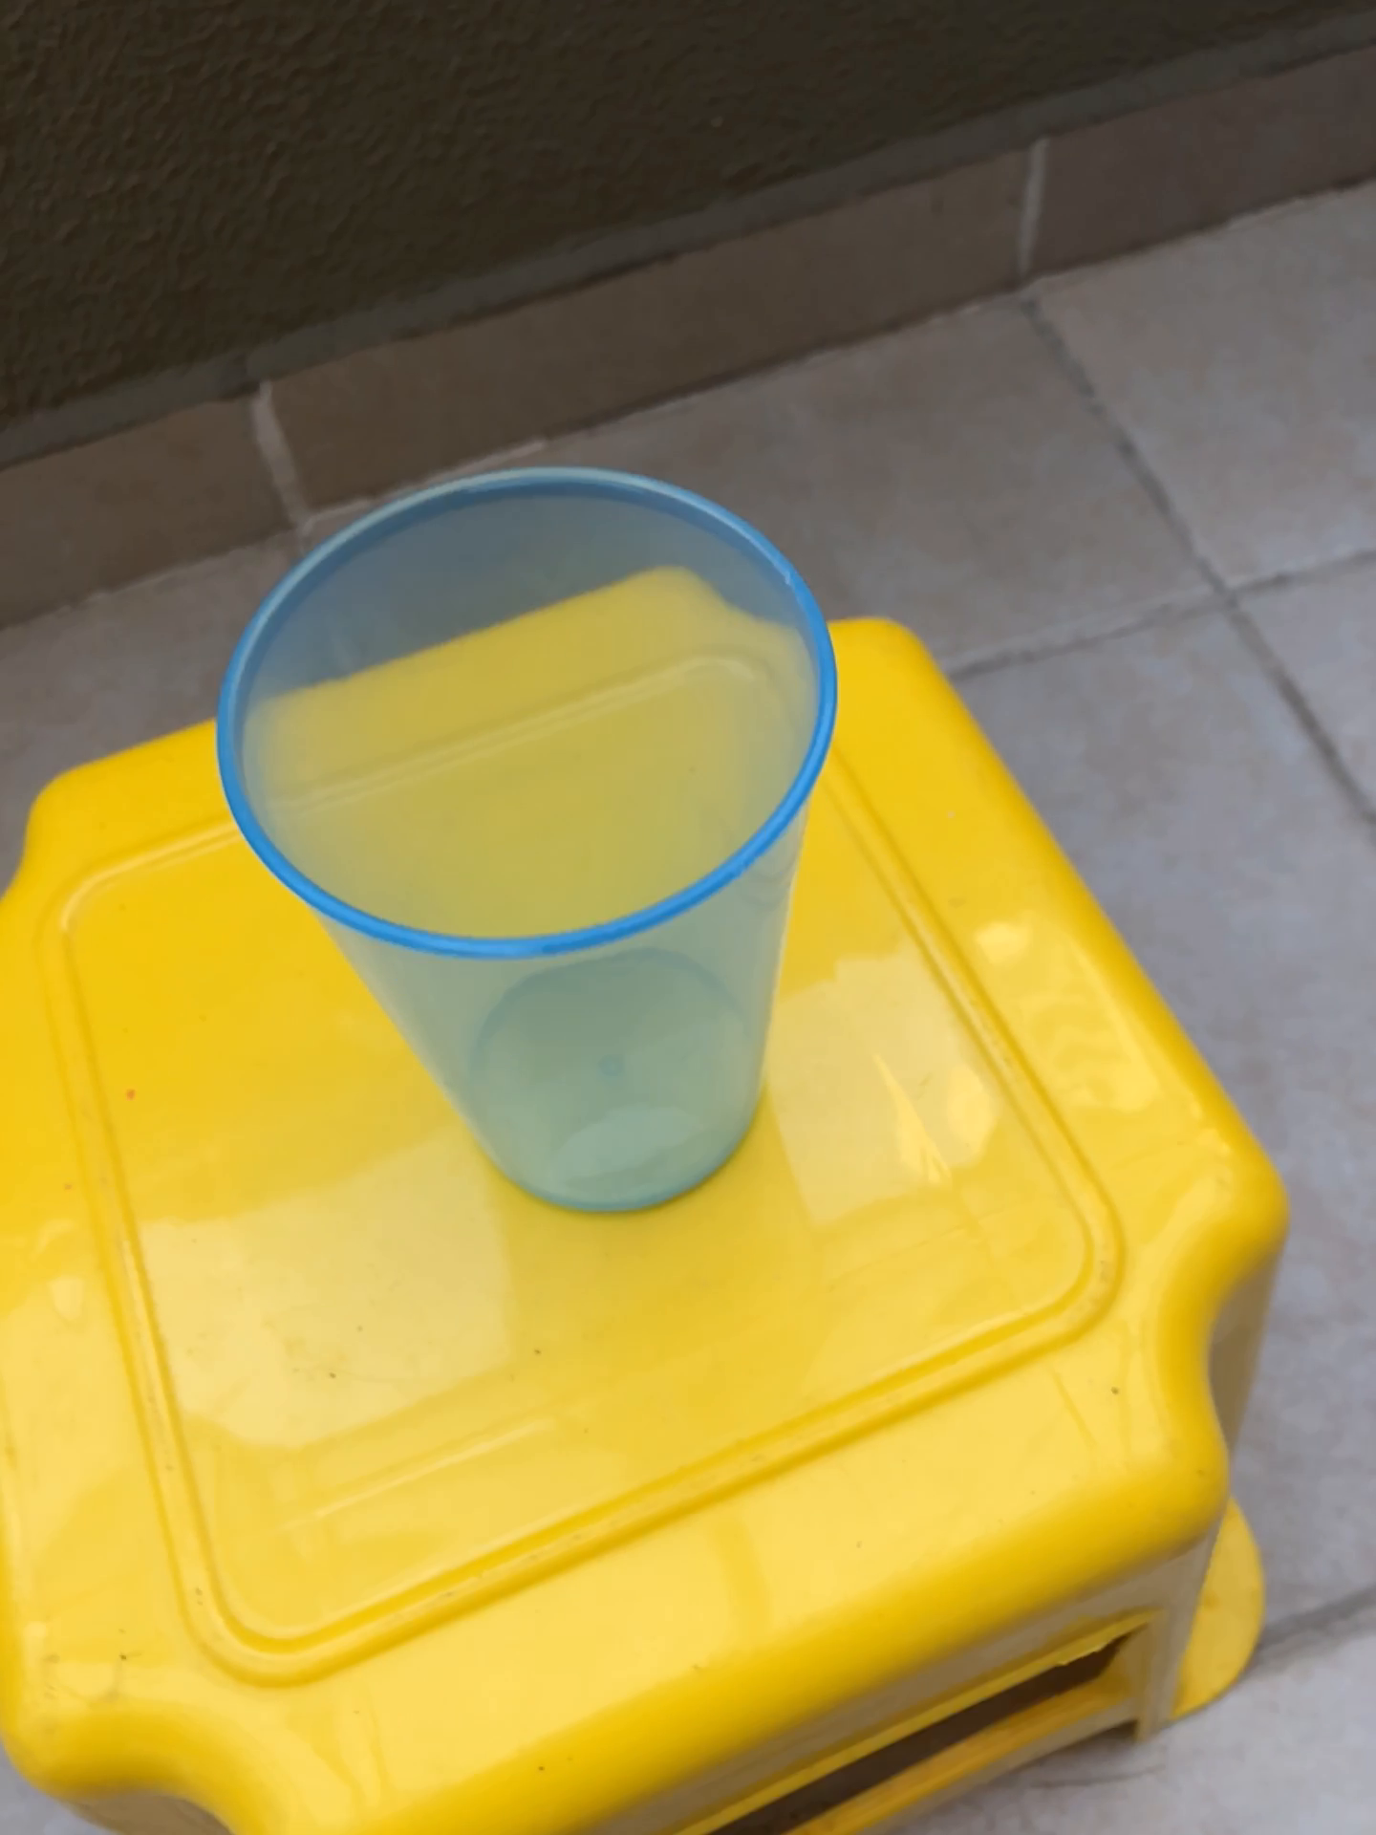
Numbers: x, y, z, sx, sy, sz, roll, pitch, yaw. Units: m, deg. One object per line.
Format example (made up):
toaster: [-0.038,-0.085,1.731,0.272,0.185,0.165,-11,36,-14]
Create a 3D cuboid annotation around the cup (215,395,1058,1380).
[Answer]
cup: [-0.006,0.001,0.223,0.070,0.100,0.080,-27,60,-11]
